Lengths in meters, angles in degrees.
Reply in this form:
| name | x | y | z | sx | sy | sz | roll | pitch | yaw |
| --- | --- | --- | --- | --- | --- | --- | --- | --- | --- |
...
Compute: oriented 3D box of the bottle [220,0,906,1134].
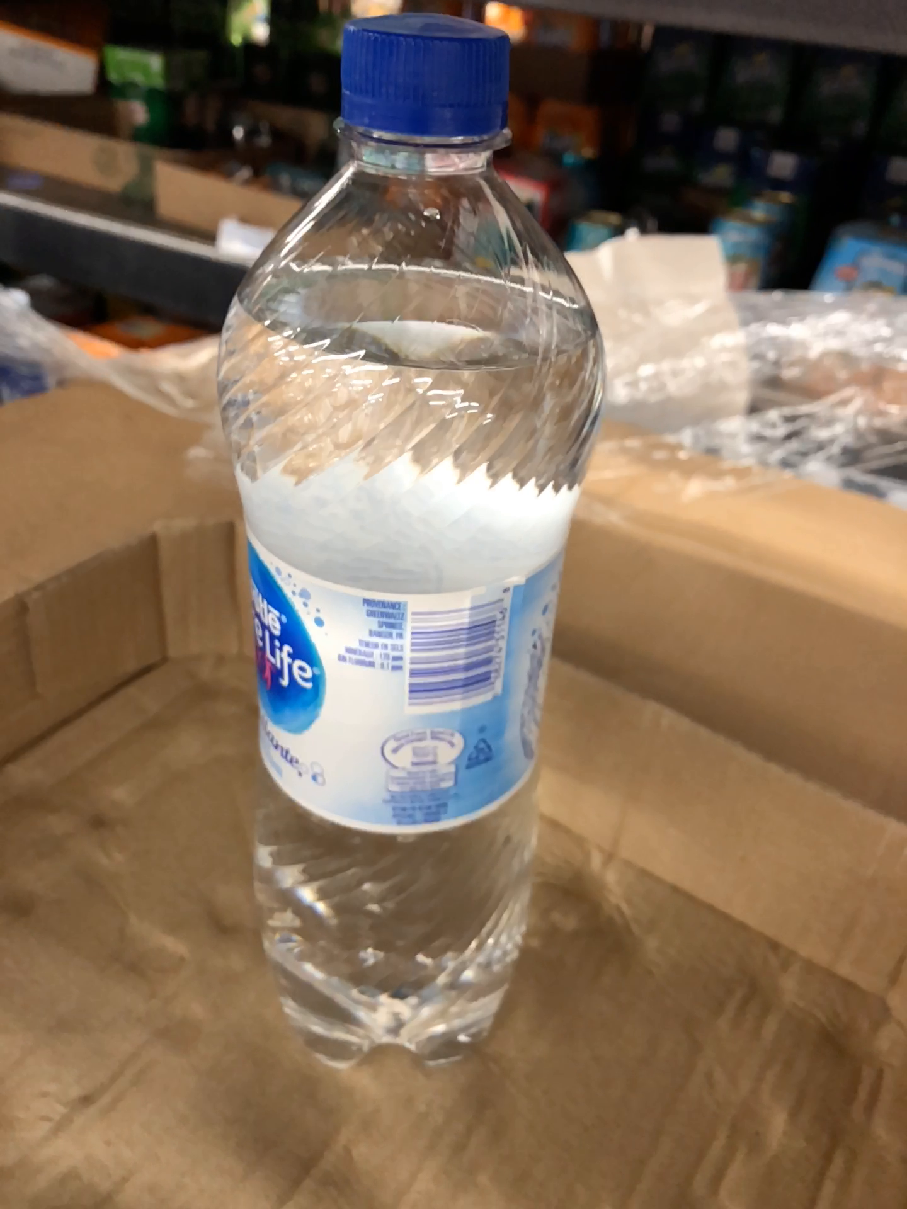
| name | x | y | z | sx | sy | sz | roll | pitch | yaw |
| --- | --- | --- | --- | --- | --- | --- | --- | --- | --- |
| bottle | 0.002 | 0.000 | 0.272 | 0.100 | 0.278 | 0.101 | 5 | 32 | -3 |
